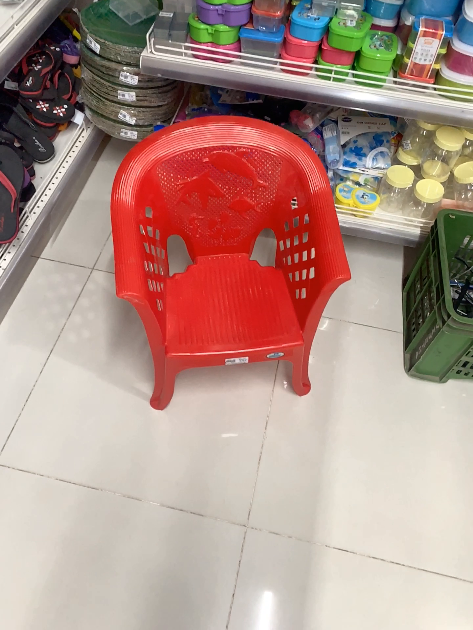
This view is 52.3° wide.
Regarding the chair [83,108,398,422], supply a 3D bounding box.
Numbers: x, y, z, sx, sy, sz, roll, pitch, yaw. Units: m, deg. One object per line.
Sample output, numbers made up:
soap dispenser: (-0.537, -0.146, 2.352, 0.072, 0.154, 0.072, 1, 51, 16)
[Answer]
chair: (-0.018, -0.098, 1.093, 0.500, 0.479, 0.491, -4, 57, -5)
